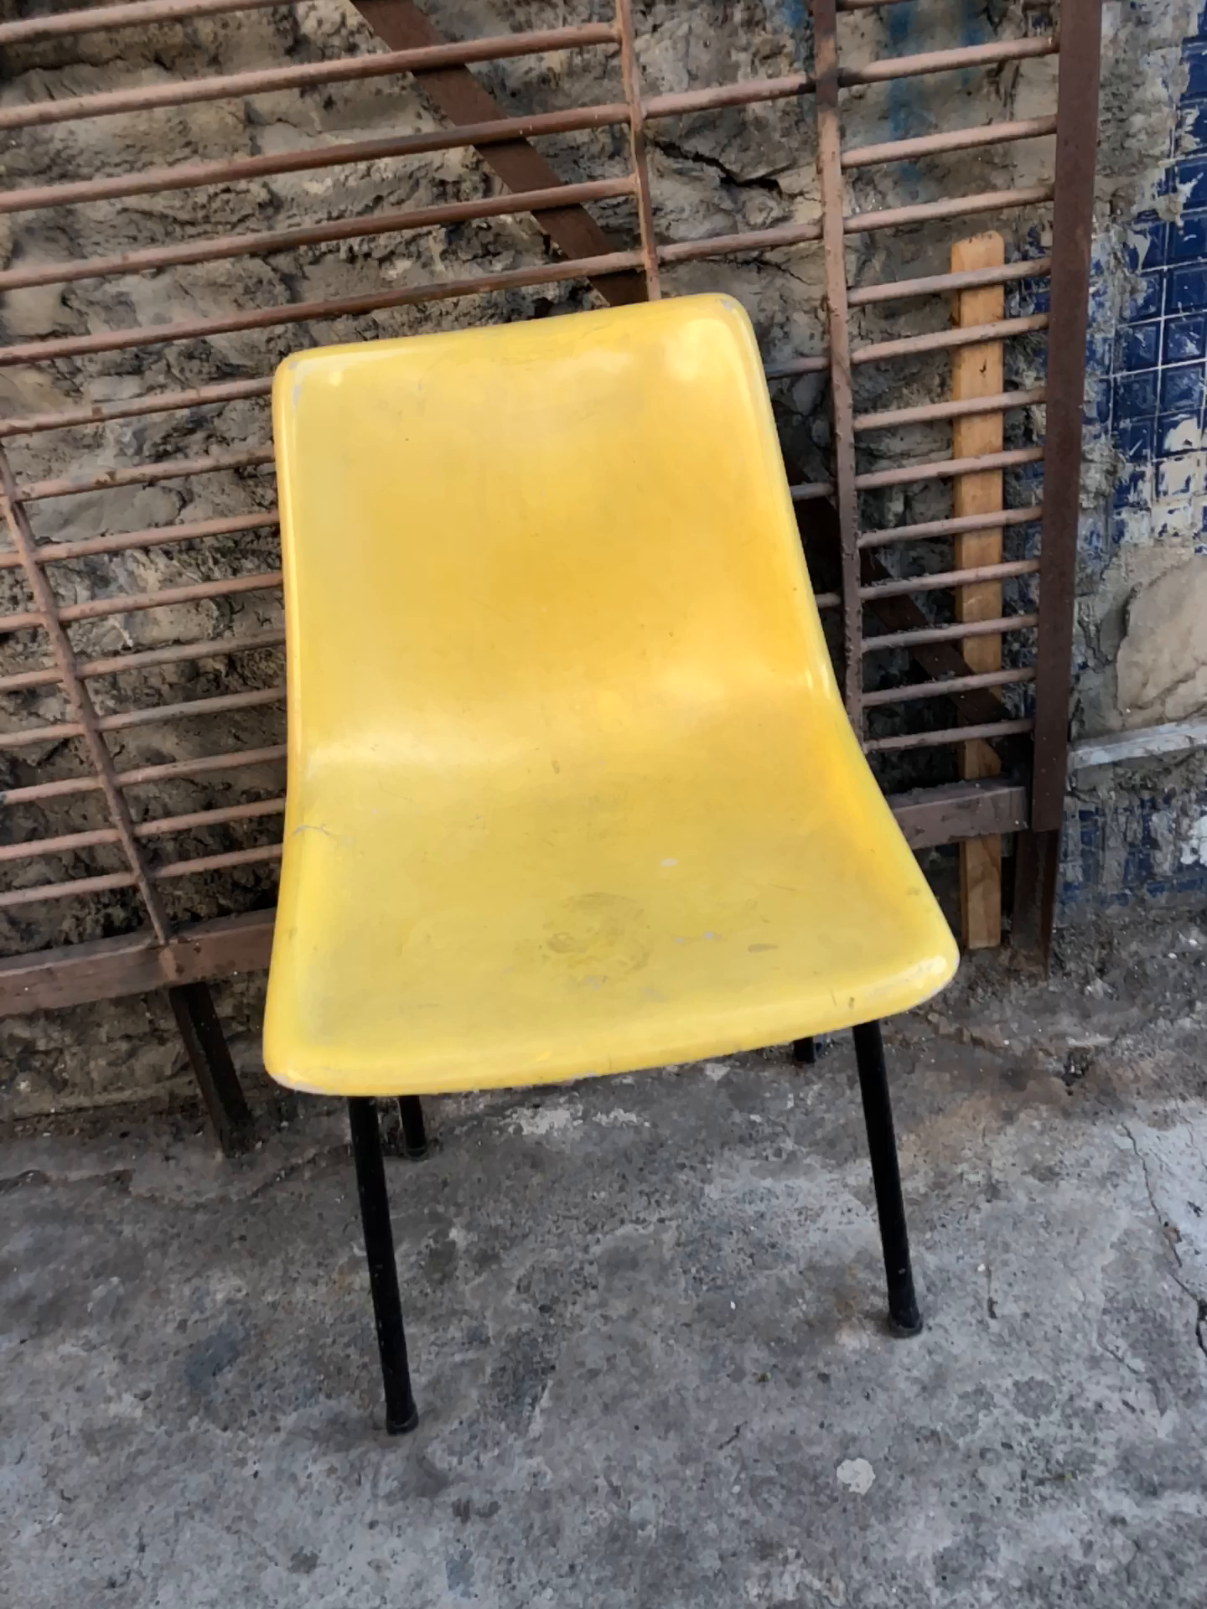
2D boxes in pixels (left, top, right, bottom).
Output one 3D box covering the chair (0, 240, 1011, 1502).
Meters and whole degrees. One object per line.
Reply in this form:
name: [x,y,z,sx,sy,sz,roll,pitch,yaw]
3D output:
chair: [-0.021,0.030,0.973,0.480,0.715,0.473,-10,28,-1]
